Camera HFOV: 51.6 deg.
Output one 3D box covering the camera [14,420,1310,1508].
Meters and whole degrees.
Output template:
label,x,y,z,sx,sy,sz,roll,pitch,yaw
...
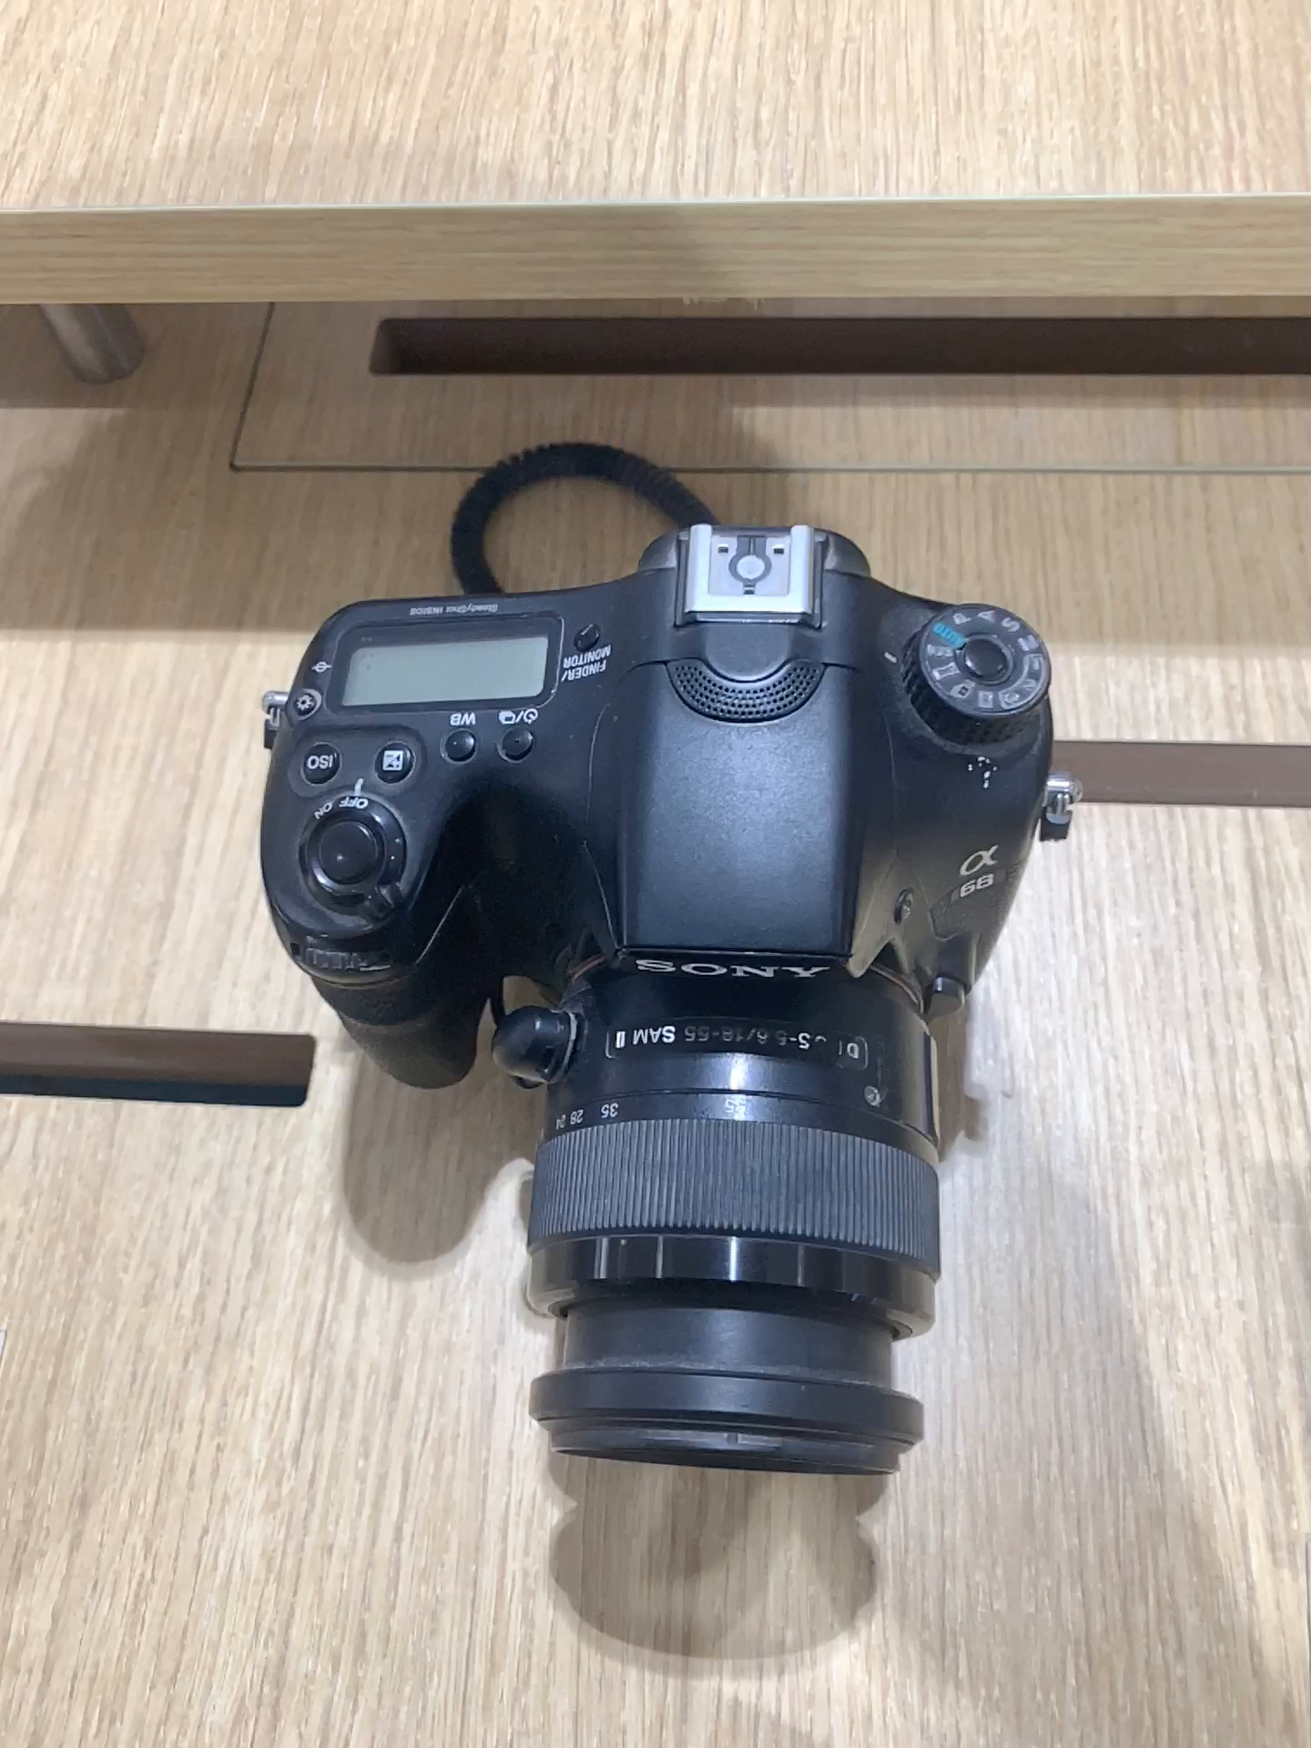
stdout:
label,x,y,z,sx,sy,sz,roll,pitch,yaw
camera,0.008,0.018,0.230,0.150,0.100,0.150,3,65,5
